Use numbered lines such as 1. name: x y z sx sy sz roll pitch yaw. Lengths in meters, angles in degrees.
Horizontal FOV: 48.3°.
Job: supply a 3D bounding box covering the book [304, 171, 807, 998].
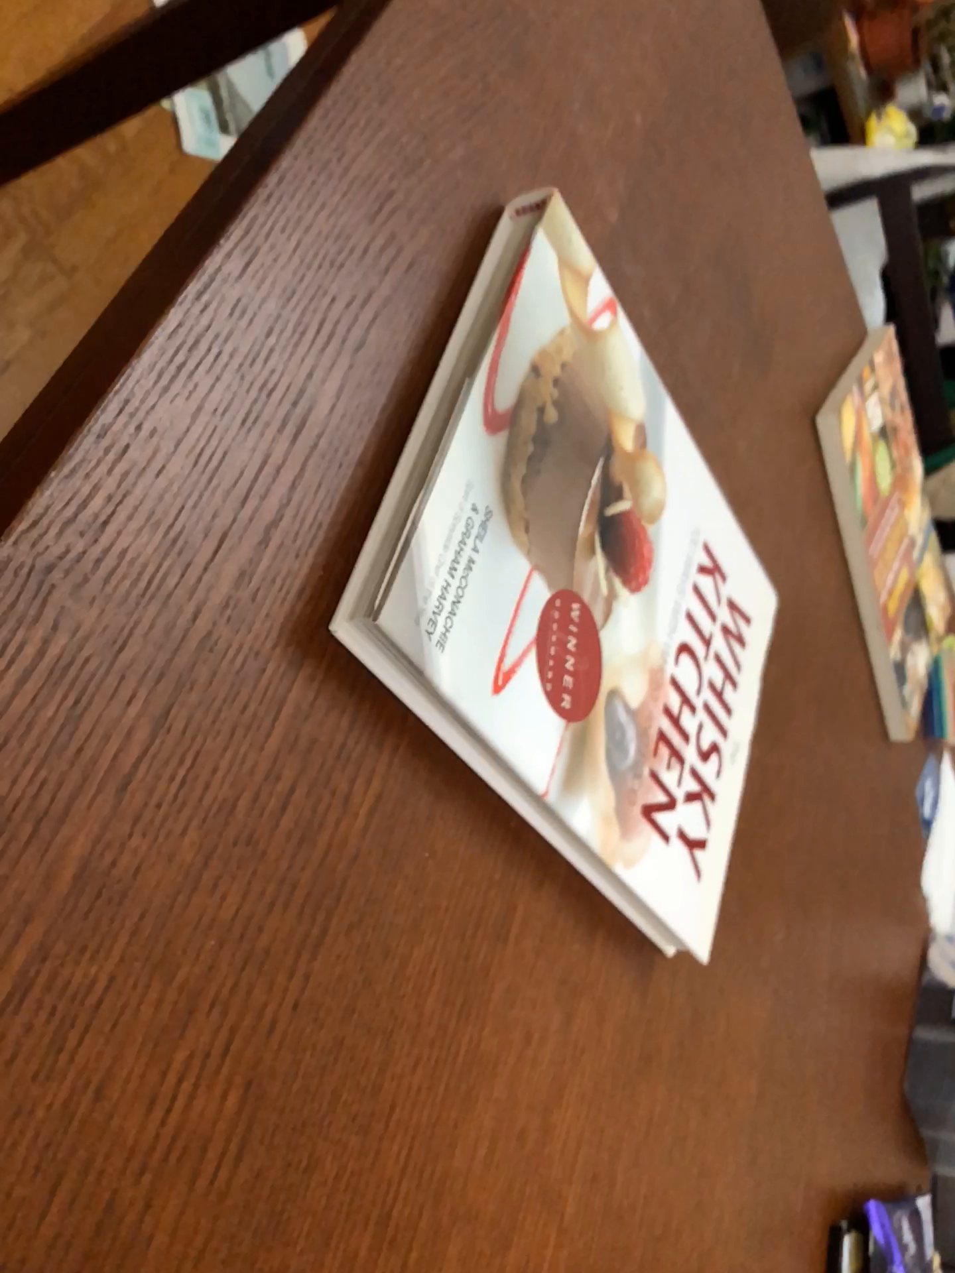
1. book: 0.064 -0.008 0.446 0.271 0.040 0.221 49 48 -40
